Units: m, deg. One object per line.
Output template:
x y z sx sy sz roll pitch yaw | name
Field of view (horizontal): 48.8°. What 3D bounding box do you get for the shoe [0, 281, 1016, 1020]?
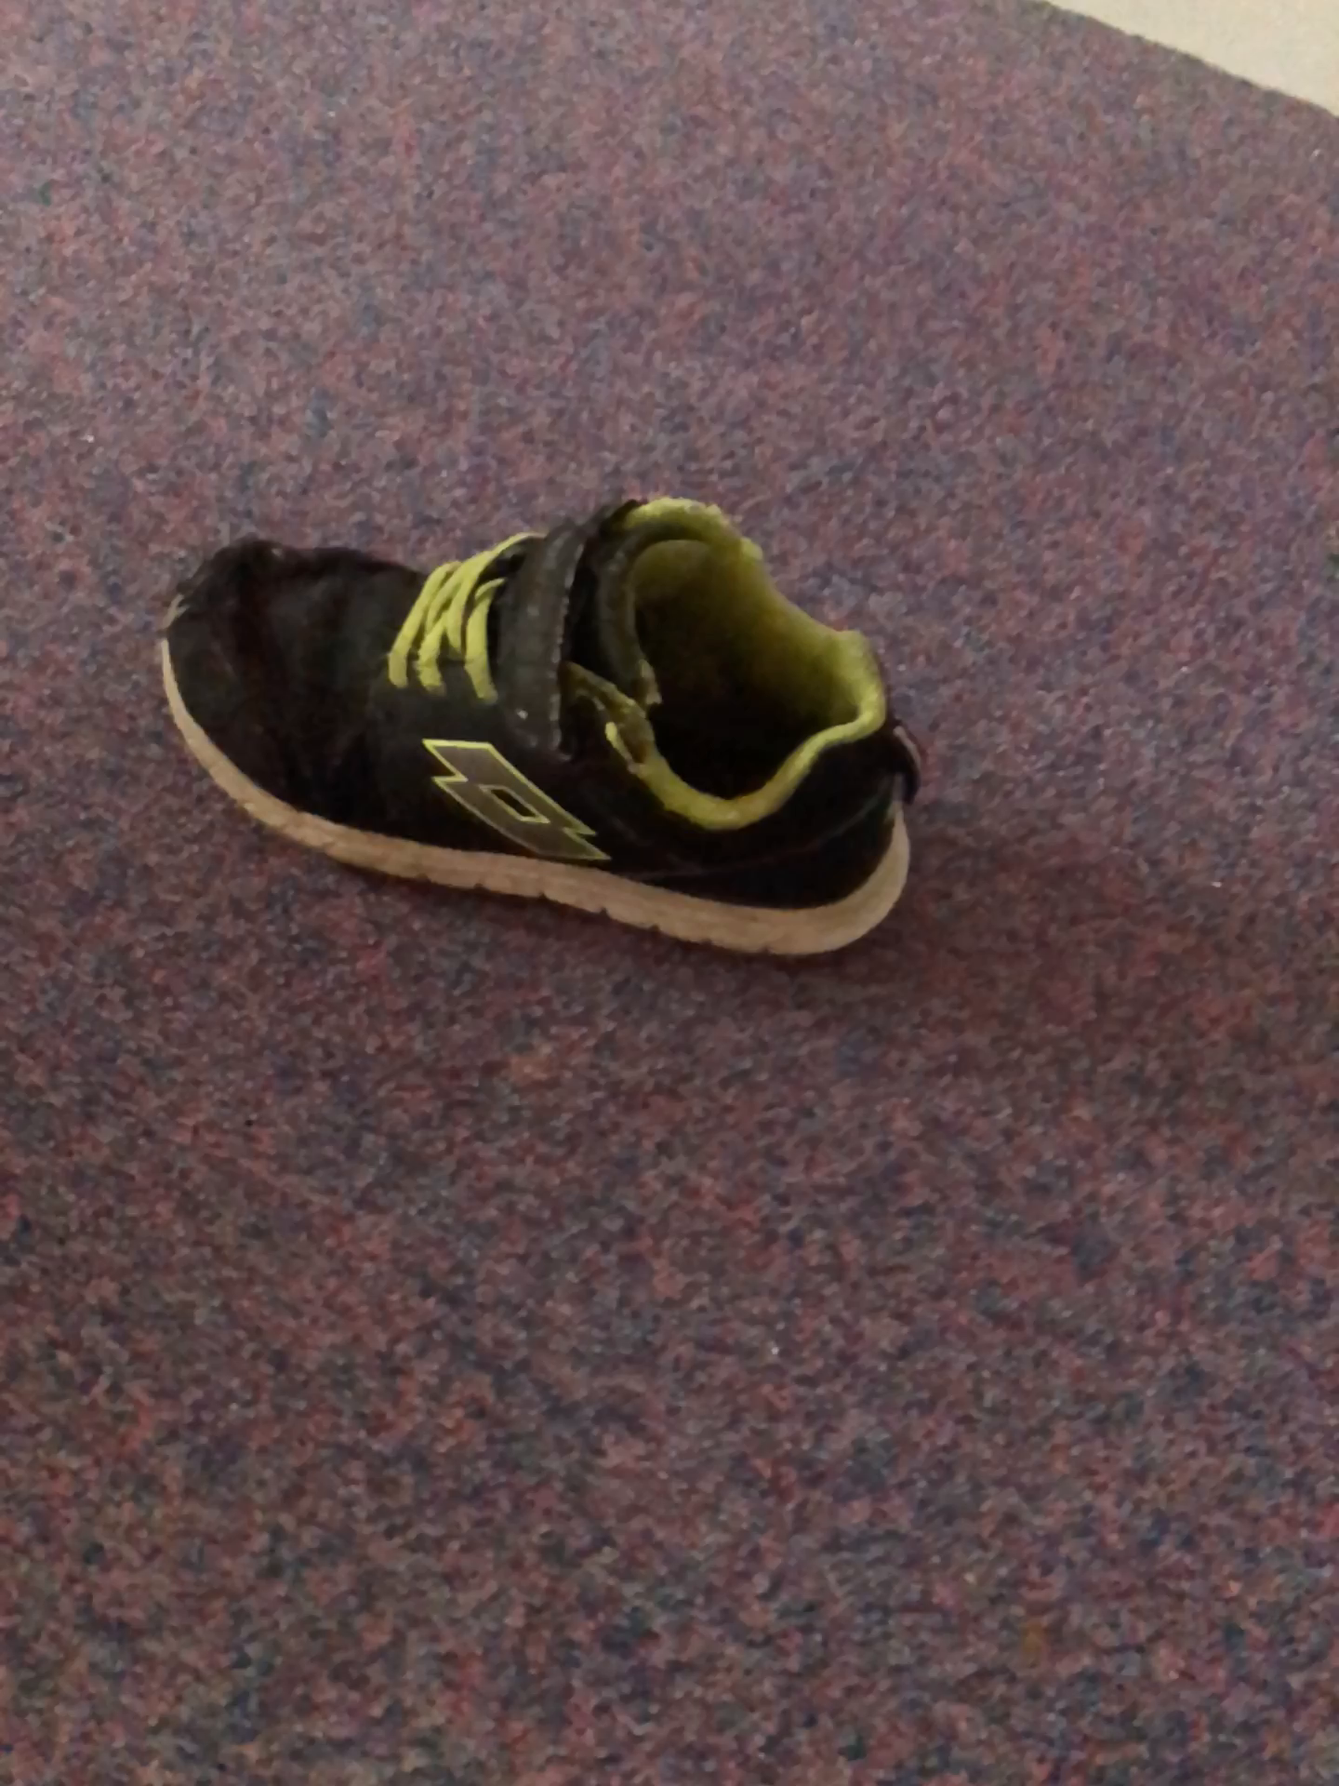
-0.040 -0.059 0.374 0.220 0.100 0.090 16 58 4 | shoe
